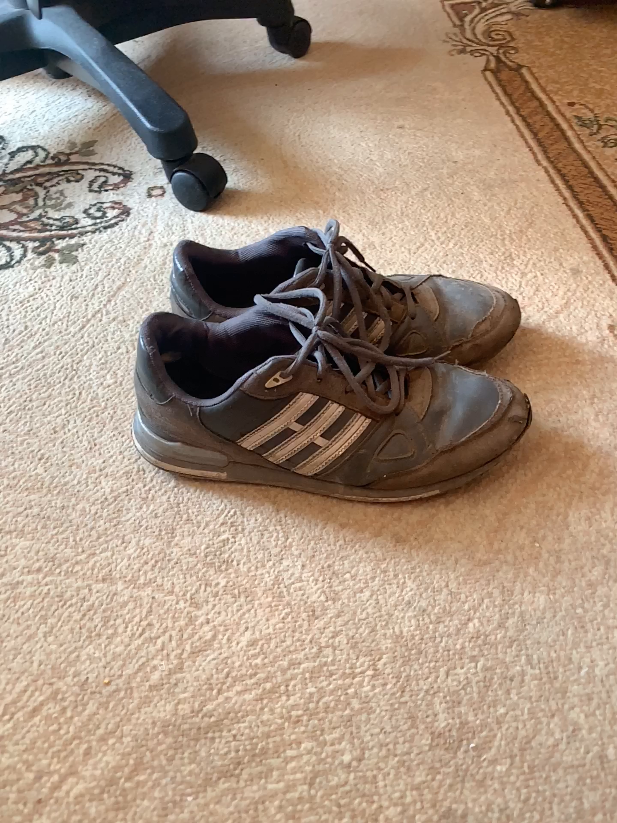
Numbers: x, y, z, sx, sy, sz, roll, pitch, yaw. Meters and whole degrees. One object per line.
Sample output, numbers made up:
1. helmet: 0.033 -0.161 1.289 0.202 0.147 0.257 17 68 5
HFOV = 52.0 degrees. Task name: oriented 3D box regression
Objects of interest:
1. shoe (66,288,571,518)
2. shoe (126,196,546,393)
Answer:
1. shoe: 0.008 -0.008 0.465 0.313 0.099 0.117 3 52 5
2. shoe: 0.023 -0.102 0.543 0.310 0.099 0.121 3 52 5
